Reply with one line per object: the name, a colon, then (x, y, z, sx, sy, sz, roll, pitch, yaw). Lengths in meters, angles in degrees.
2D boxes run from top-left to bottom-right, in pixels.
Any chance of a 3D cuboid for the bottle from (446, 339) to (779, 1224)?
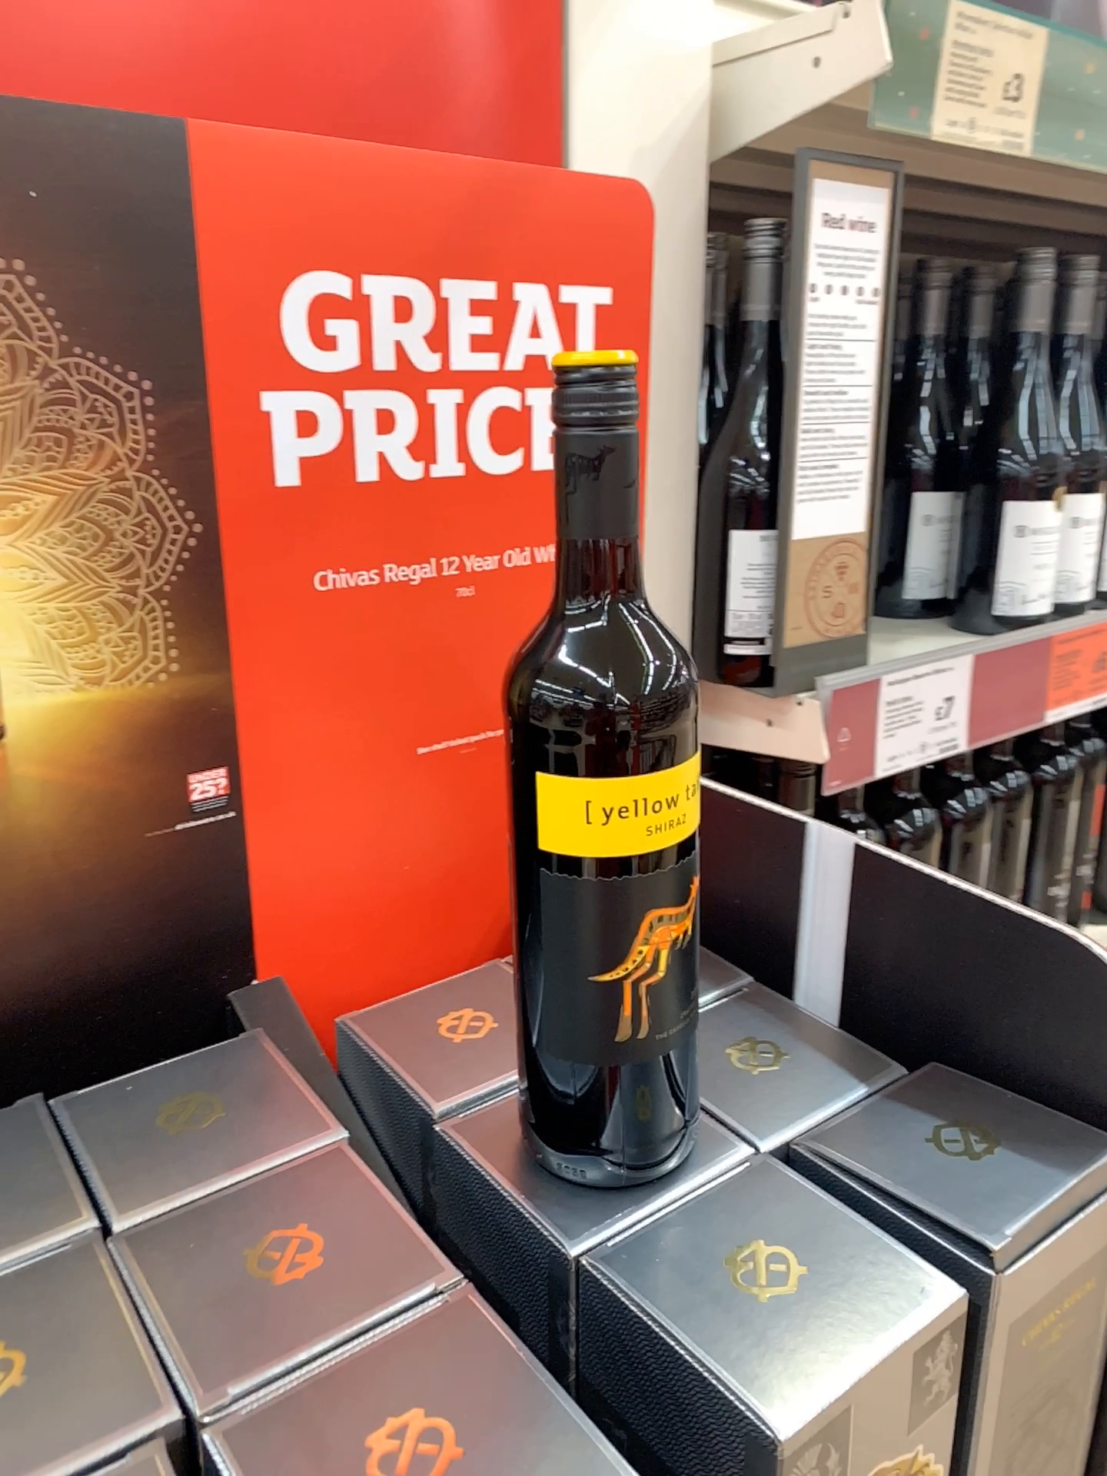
bottle: (0.017, 0.014, 0.423, 0.077, 0.305, 0.081, 0, 17, 0)
